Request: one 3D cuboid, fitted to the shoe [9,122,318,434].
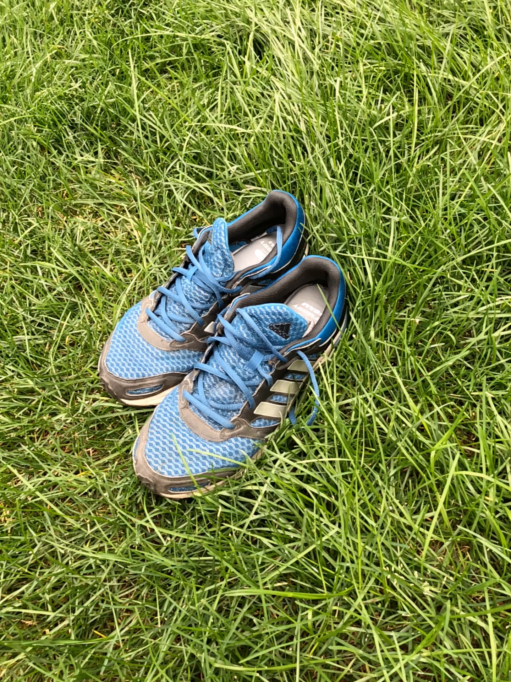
[{"bbox_3d":[-0.080,-0.061,0.565,0.120,0.120,0.270,39,81,26],"label":"shoe"}]

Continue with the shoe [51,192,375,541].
[{"bbox_3d":[-0.024,0.025,0.521,0.120,0.120,0.280,34,79,25],"label":"shoe"}]
